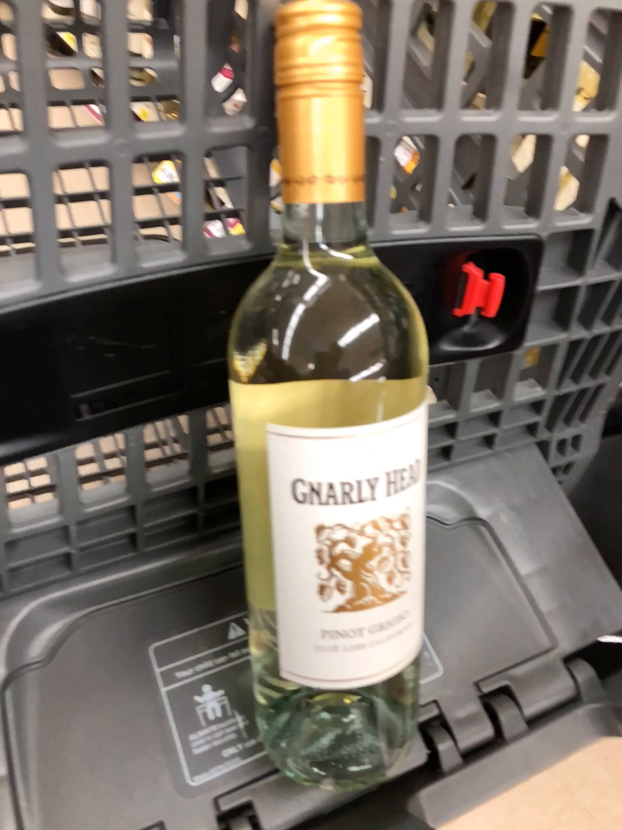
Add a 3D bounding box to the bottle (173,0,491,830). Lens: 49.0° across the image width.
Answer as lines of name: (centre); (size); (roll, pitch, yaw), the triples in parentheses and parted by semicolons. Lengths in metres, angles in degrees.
bottle: (0.010, 0.006, 0.255); (0.080, 0.070, 0.280); (-9, 107, -19)
